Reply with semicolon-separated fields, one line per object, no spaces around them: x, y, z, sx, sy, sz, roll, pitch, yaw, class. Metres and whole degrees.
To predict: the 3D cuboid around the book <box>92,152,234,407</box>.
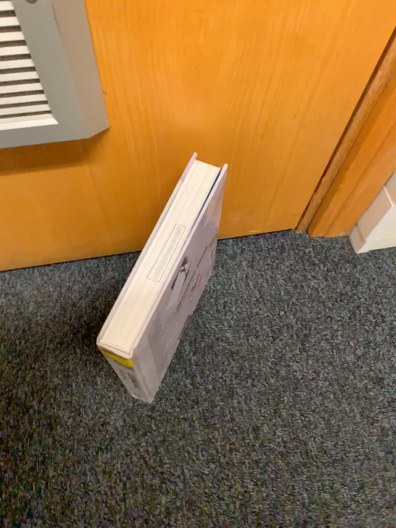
-0.028;0.034;0.456;0.040;0.232;0.211;21;64;8;book
